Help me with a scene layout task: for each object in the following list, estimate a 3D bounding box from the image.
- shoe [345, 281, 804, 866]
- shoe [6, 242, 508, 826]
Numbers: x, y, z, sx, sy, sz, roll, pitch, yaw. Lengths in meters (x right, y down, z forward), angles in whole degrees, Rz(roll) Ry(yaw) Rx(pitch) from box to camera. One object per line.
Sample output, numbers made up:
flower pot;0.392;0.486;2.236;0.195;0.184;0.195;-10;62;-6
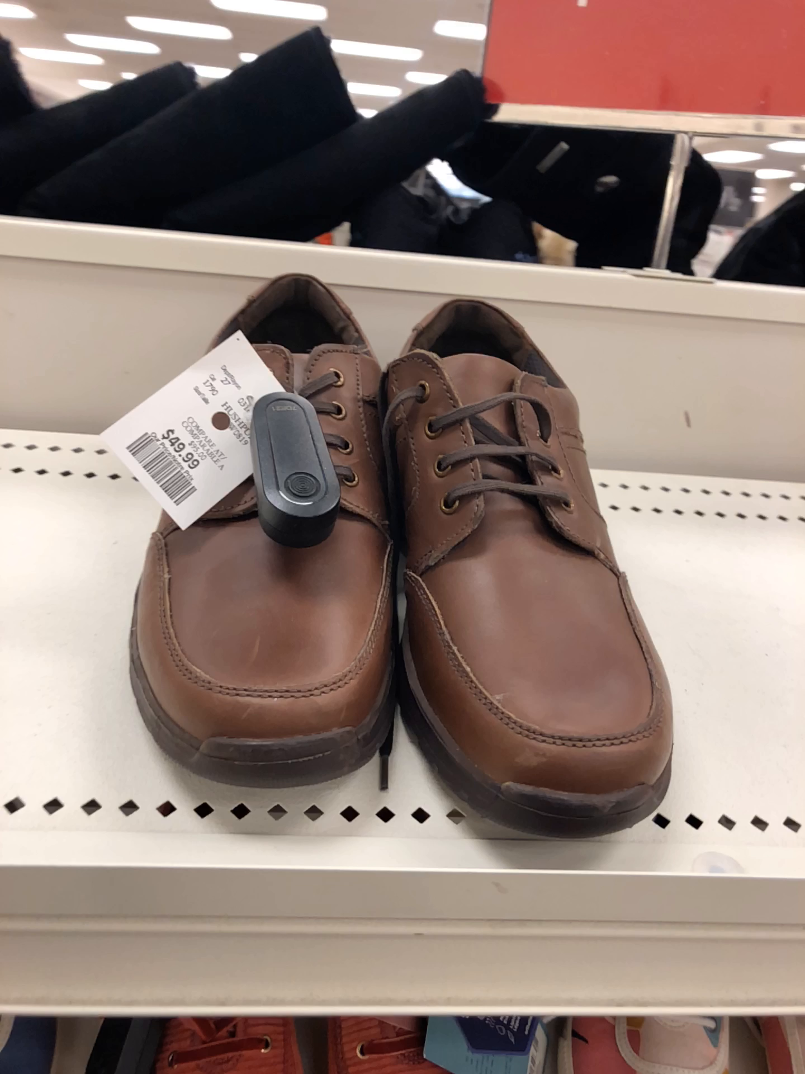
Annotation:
shoe;0.050;-0.026;0.393;0.120;0.109;0.342;2;24;-9
shoe;-0.053;-0.039;0.387;0.120;0.109;0.333;3;26;-7
